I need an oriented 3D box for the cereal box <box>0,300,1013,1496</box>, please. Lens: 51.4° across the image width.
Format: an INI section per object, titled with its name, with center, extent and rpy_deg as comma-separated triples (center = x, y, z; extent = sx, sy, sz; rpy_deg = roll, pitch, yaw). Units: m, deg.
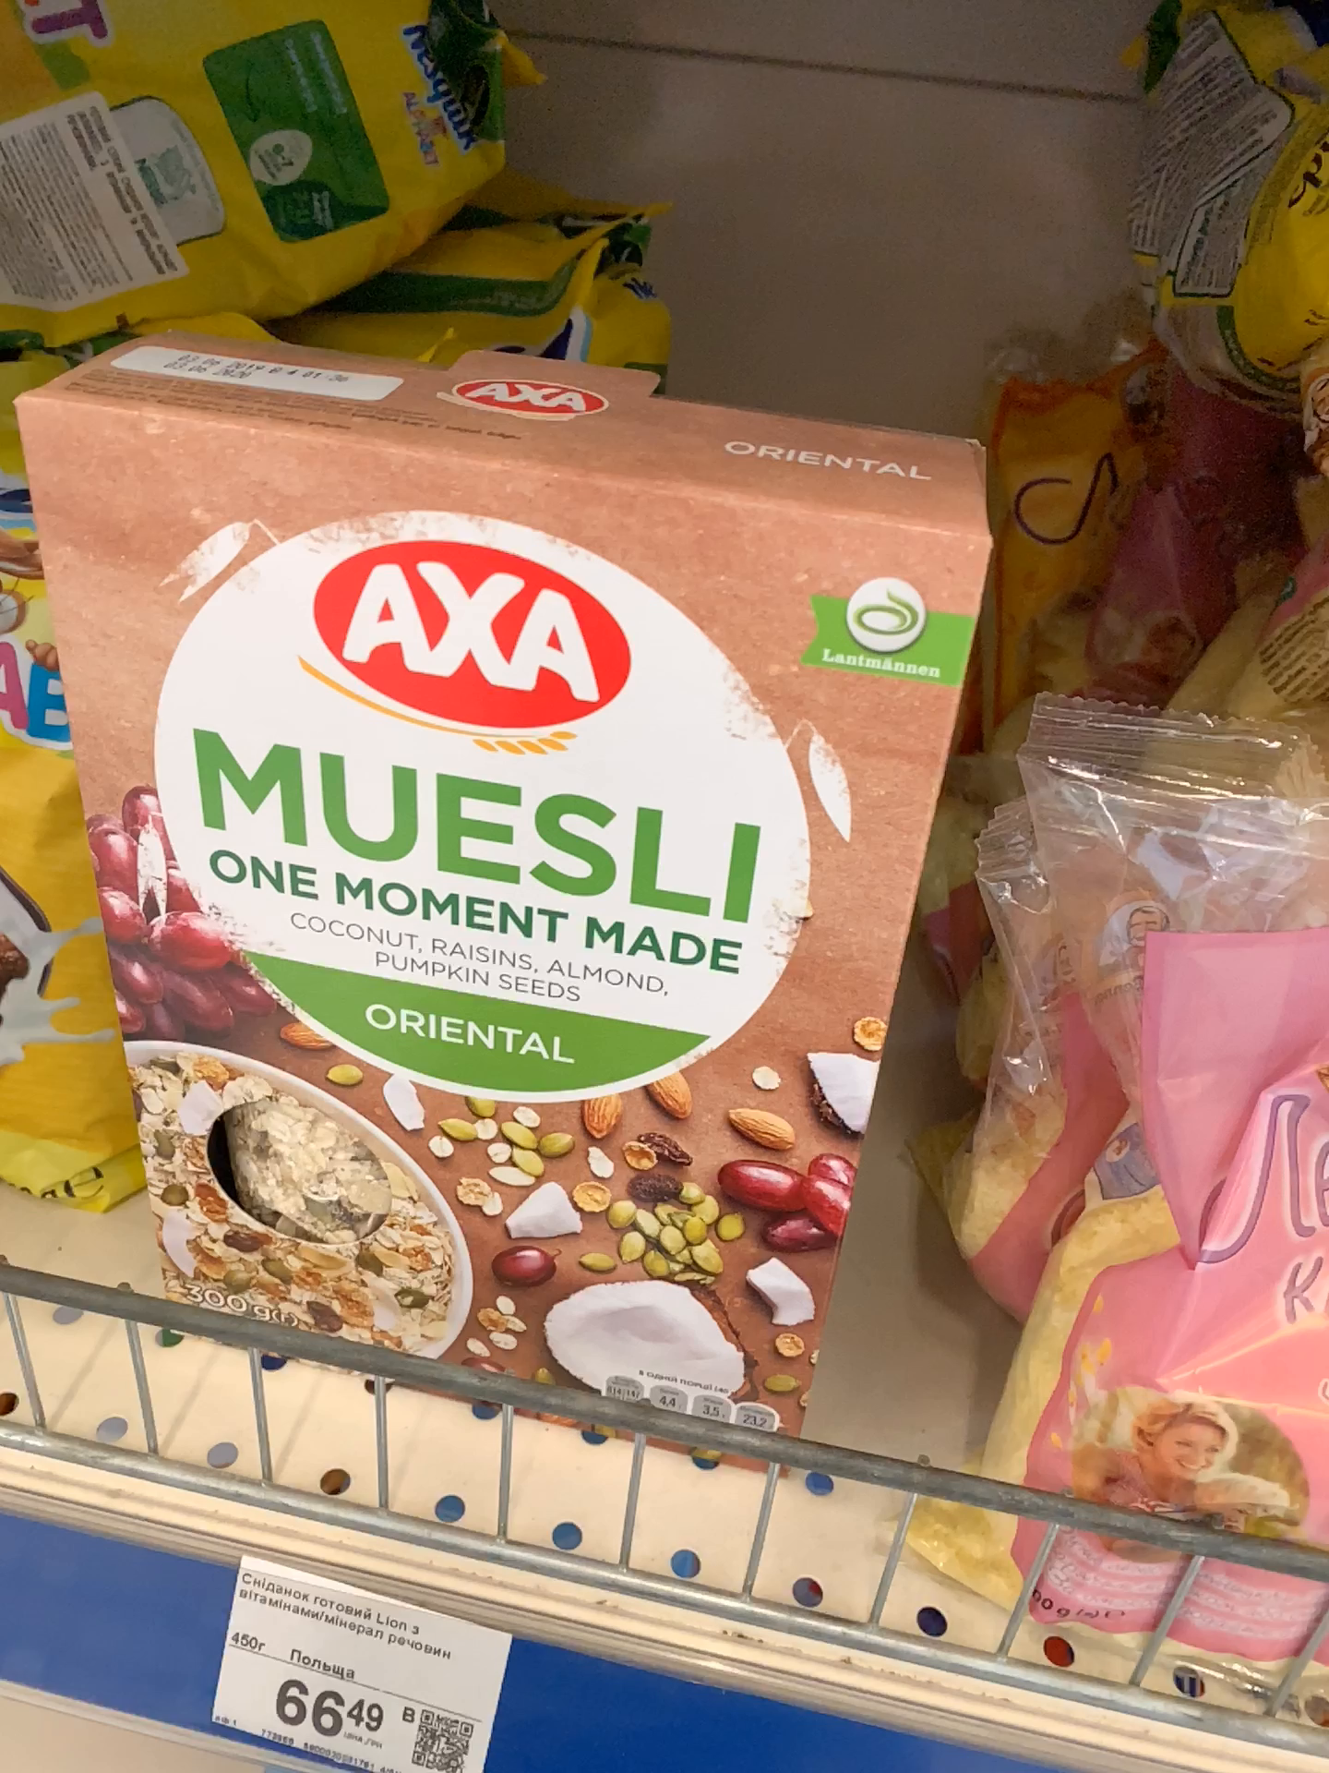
[cereal box]
center = -0.031, 0.015, 0.271
extent = 0.150, 0.218, 0.050
rpy_deg = 11, 34, 8
